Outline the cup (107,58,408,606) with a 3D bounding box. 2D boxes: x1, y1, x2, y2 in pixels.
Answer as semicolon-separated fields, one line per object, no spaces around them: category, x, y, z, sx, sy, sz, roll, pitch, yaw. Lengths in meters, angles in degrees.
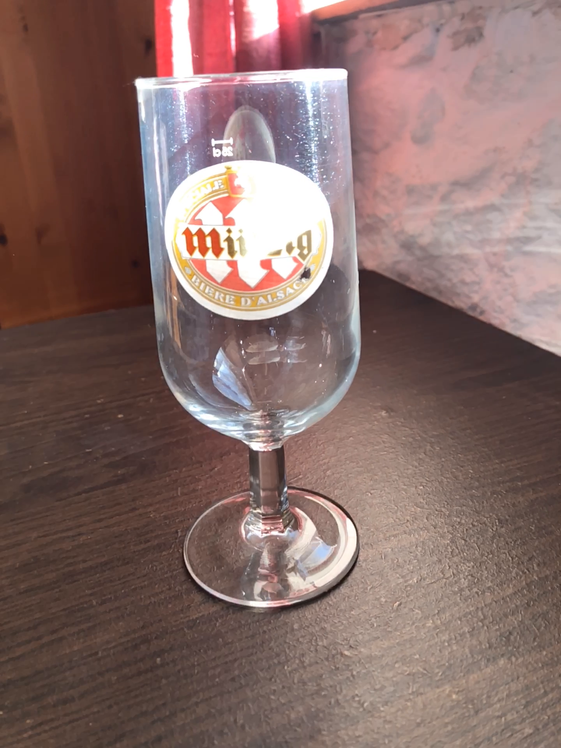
cup;-0.002;-0.012;0.201;0.067;0.155;0.070;-2;23;1
